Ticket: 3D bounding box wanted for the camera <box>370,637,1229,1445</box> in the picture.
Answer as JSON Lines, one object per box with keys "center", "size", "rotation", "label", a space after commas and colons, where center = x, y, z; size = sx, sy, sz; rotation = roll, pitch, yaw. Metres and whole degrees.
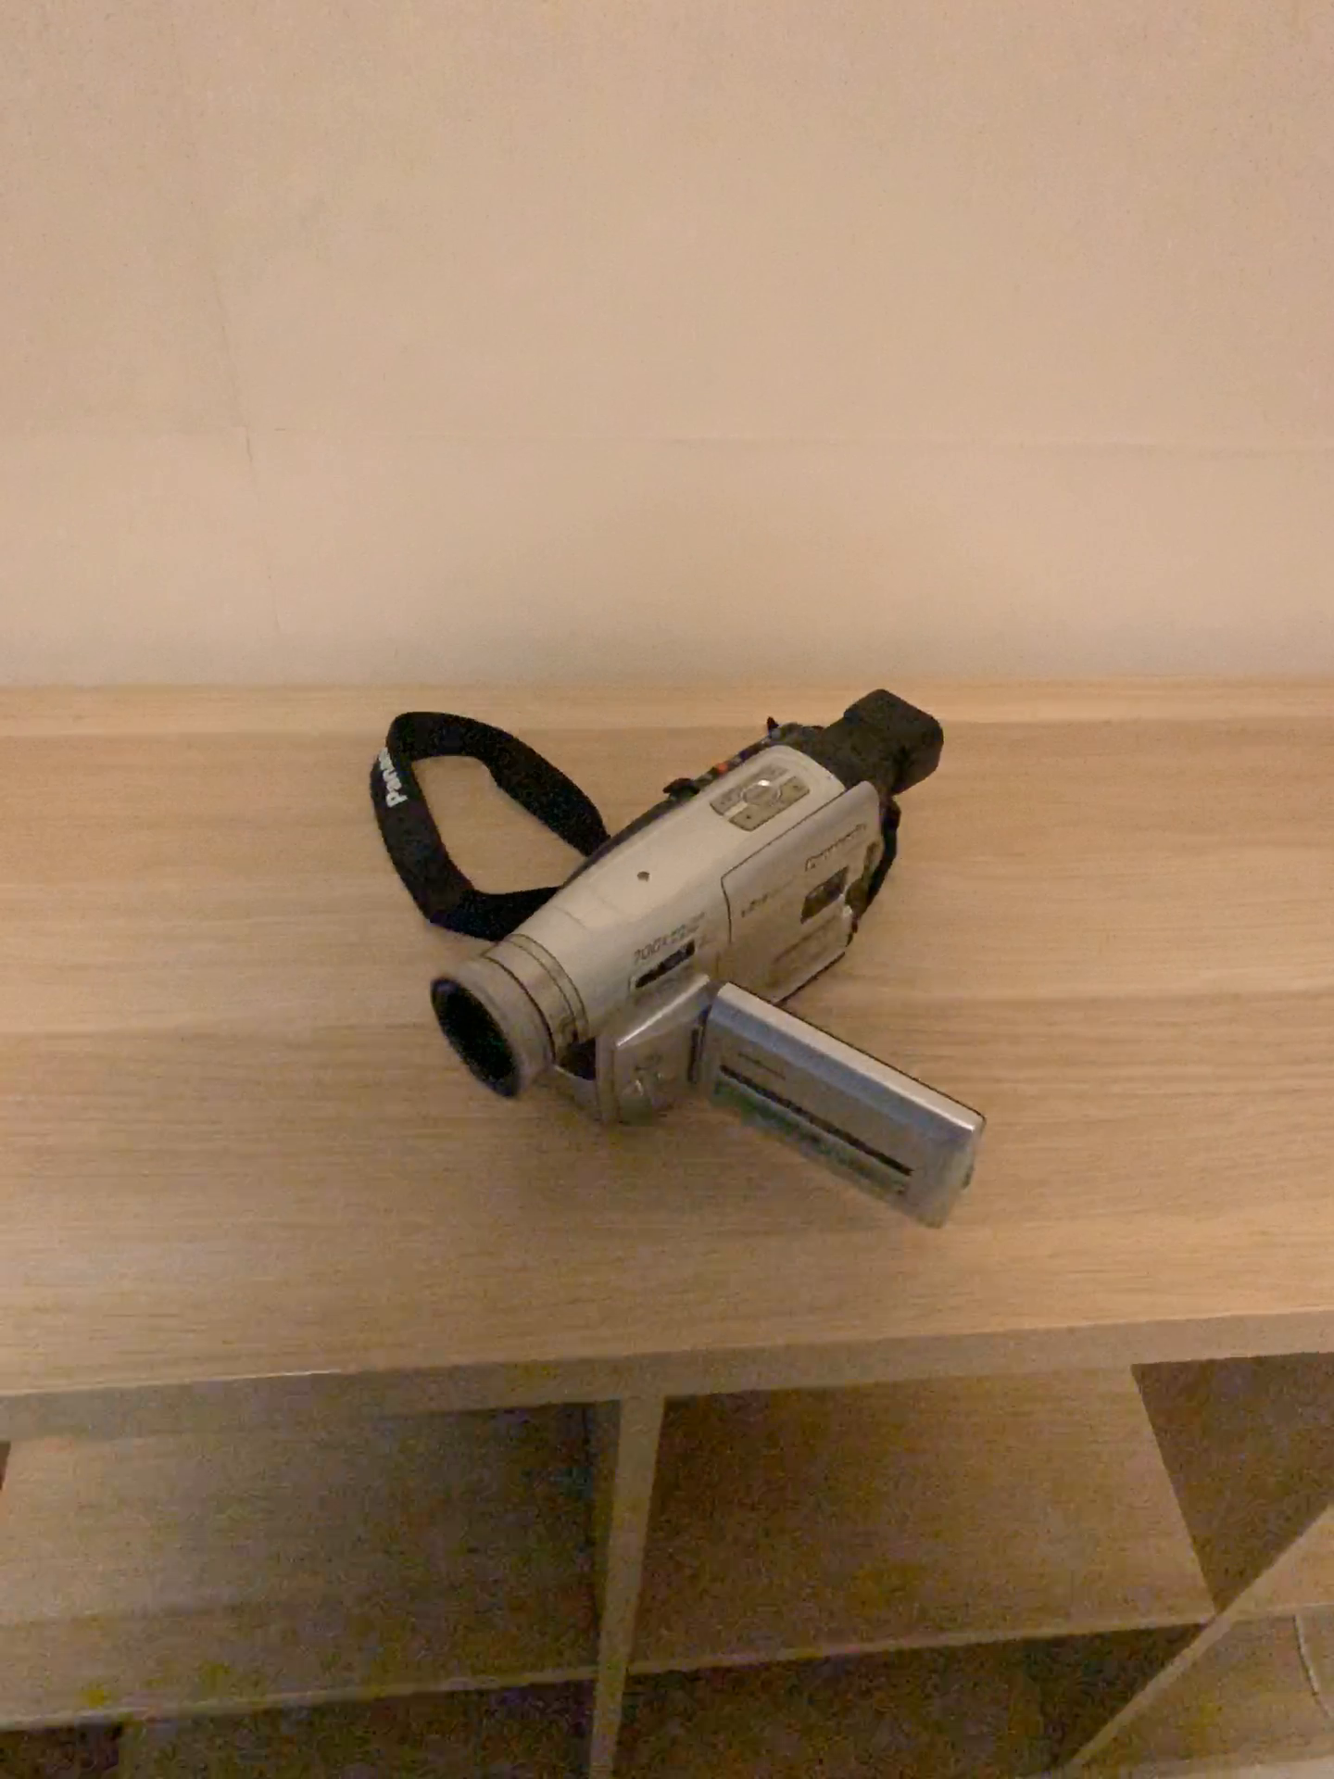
{"center": [0.051, 0.035, 0.532], "size": [0.203, 0.109, 0.247], "rotation": [35, 51, 28], "label": "camera"}
